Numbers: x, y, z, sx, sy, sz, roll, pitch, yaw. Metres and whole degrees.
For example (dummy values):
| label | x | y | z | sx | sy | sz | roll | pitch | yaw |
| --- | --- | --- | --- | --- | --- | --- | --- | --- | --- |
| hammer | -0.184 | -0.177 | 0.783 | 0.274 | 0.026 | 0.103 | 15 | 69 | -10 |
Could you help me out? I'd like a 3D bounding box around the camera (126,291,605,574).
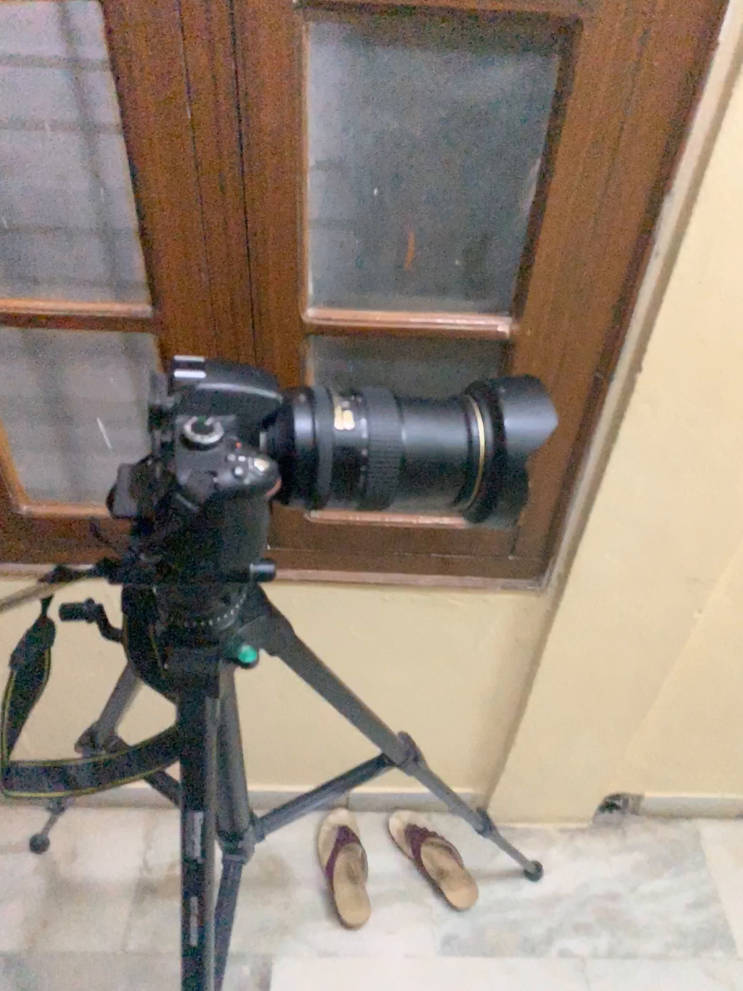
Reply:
| label | x | y | z | sx | sy | sz | roll | pitch | yaw |
| --- | --- | --- | --- | --- | --- | --- | --- | --- | --- |
| camera | -0.012 | -0.039 | 0.501 | 0.270 | 0.120 | 0.130 | 2 | 43 | -11 |
